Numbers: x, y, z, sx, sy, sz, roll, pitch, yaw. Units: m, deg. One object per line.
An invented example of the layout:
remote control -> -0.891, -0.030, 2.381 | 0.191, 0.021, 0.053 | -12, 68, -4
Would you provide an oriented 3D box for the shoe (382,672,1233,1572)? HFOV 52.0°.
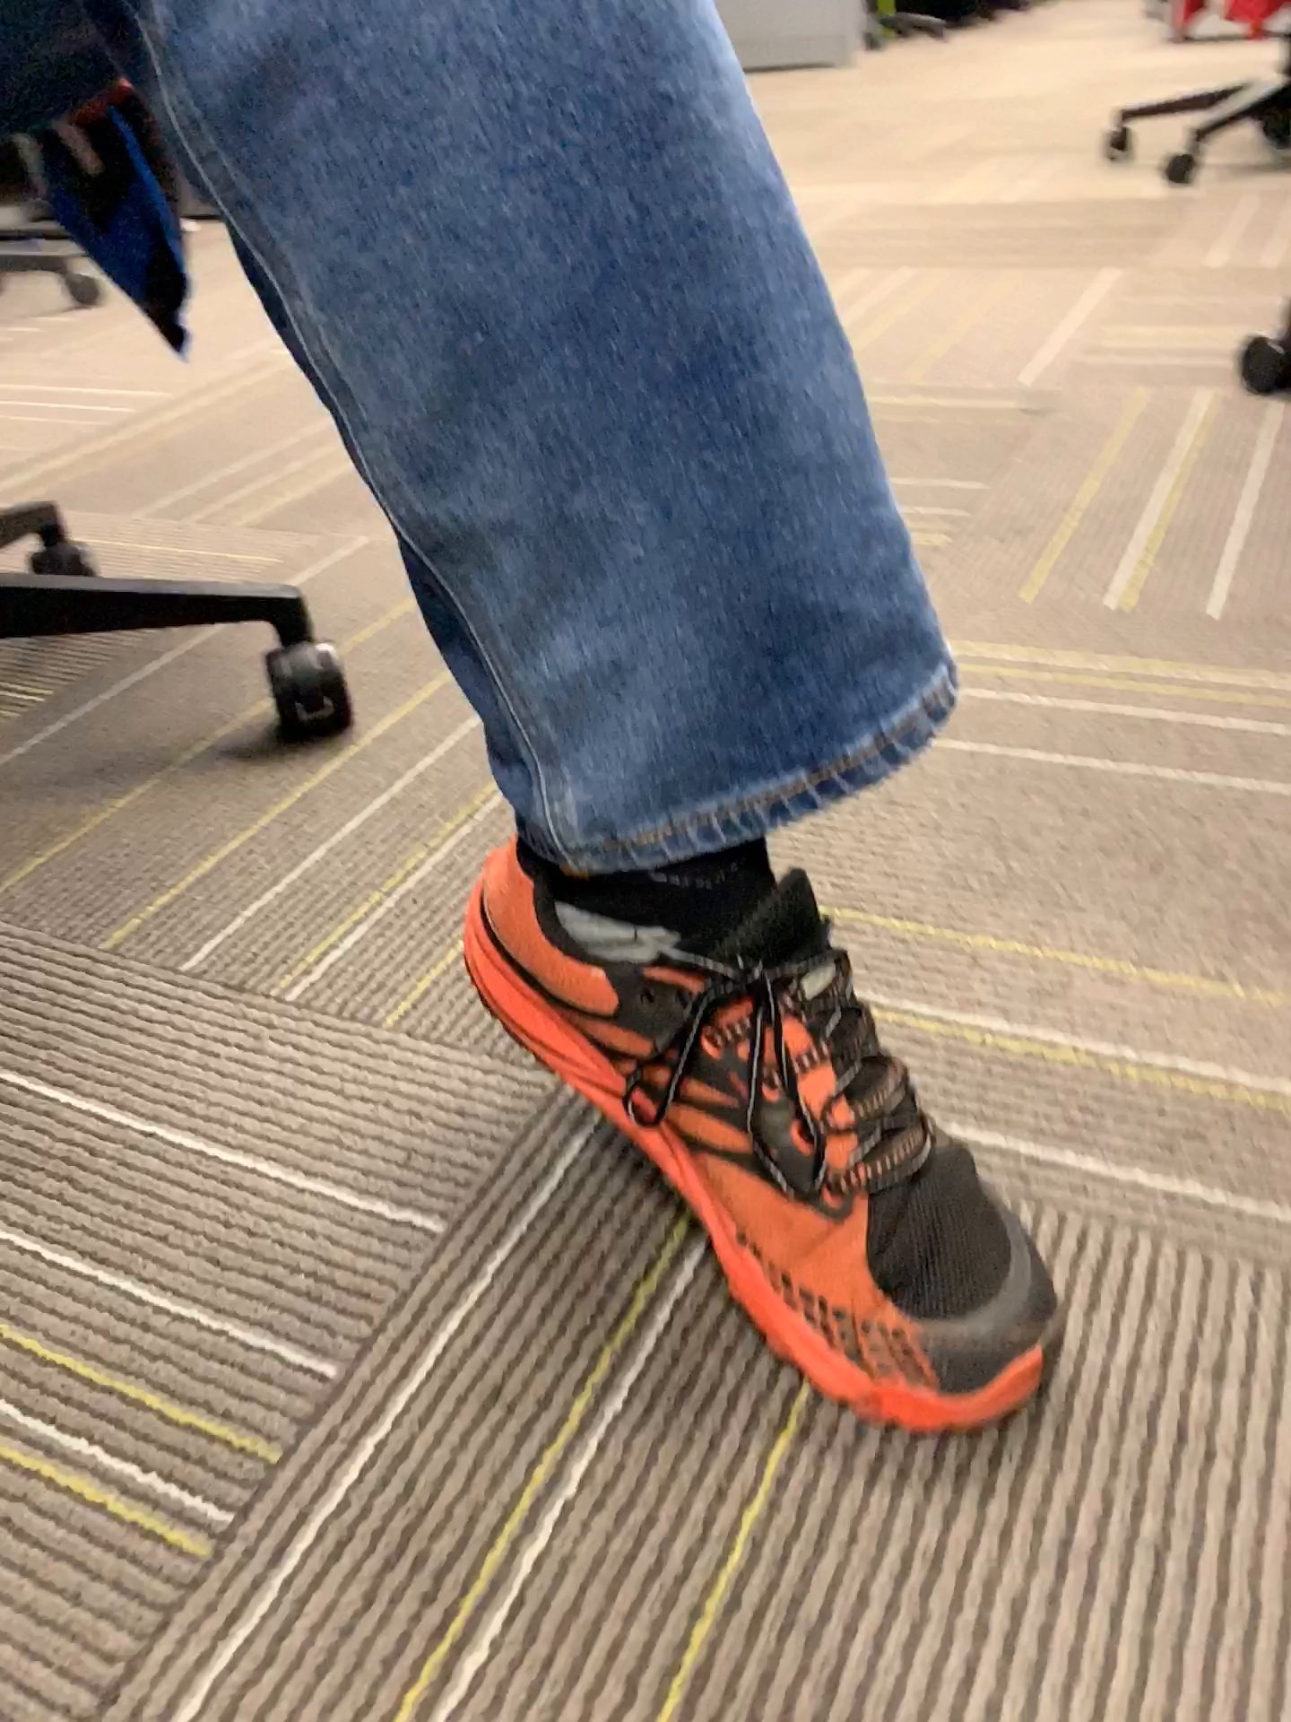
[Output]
shoe -> 0.045, 0.083, 0.518 | 0.126, 0.106, 0.316 | -25, 63, -37
